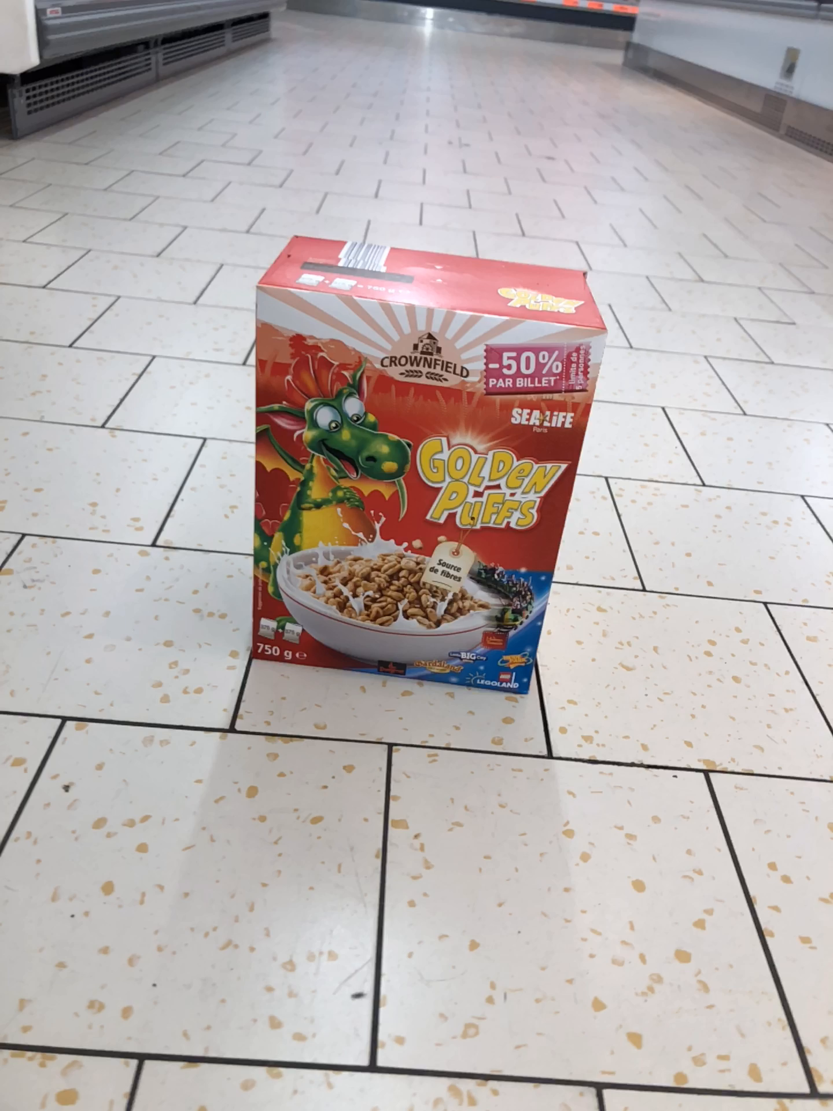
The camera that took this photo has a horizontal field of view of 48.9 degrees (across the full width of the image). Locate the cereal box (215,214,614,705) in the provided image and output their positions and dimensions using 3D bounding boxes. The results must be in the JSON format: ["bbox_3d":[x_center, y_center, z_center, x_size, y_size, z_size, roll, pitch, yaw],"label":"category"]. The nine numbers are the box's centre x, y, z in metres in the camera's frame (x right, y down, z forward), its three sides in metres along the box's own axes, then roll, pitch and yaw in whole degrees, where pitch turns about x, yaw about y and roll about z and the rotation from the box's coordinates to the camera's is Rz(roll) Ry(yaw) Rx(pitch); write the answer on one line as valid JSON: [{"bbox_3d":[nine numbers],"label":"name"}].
[{"bbox_3d":[-0.007,-0.060,0.579,0.200,0.248,0.141,7,31,1],"label":"cereal box"}]
